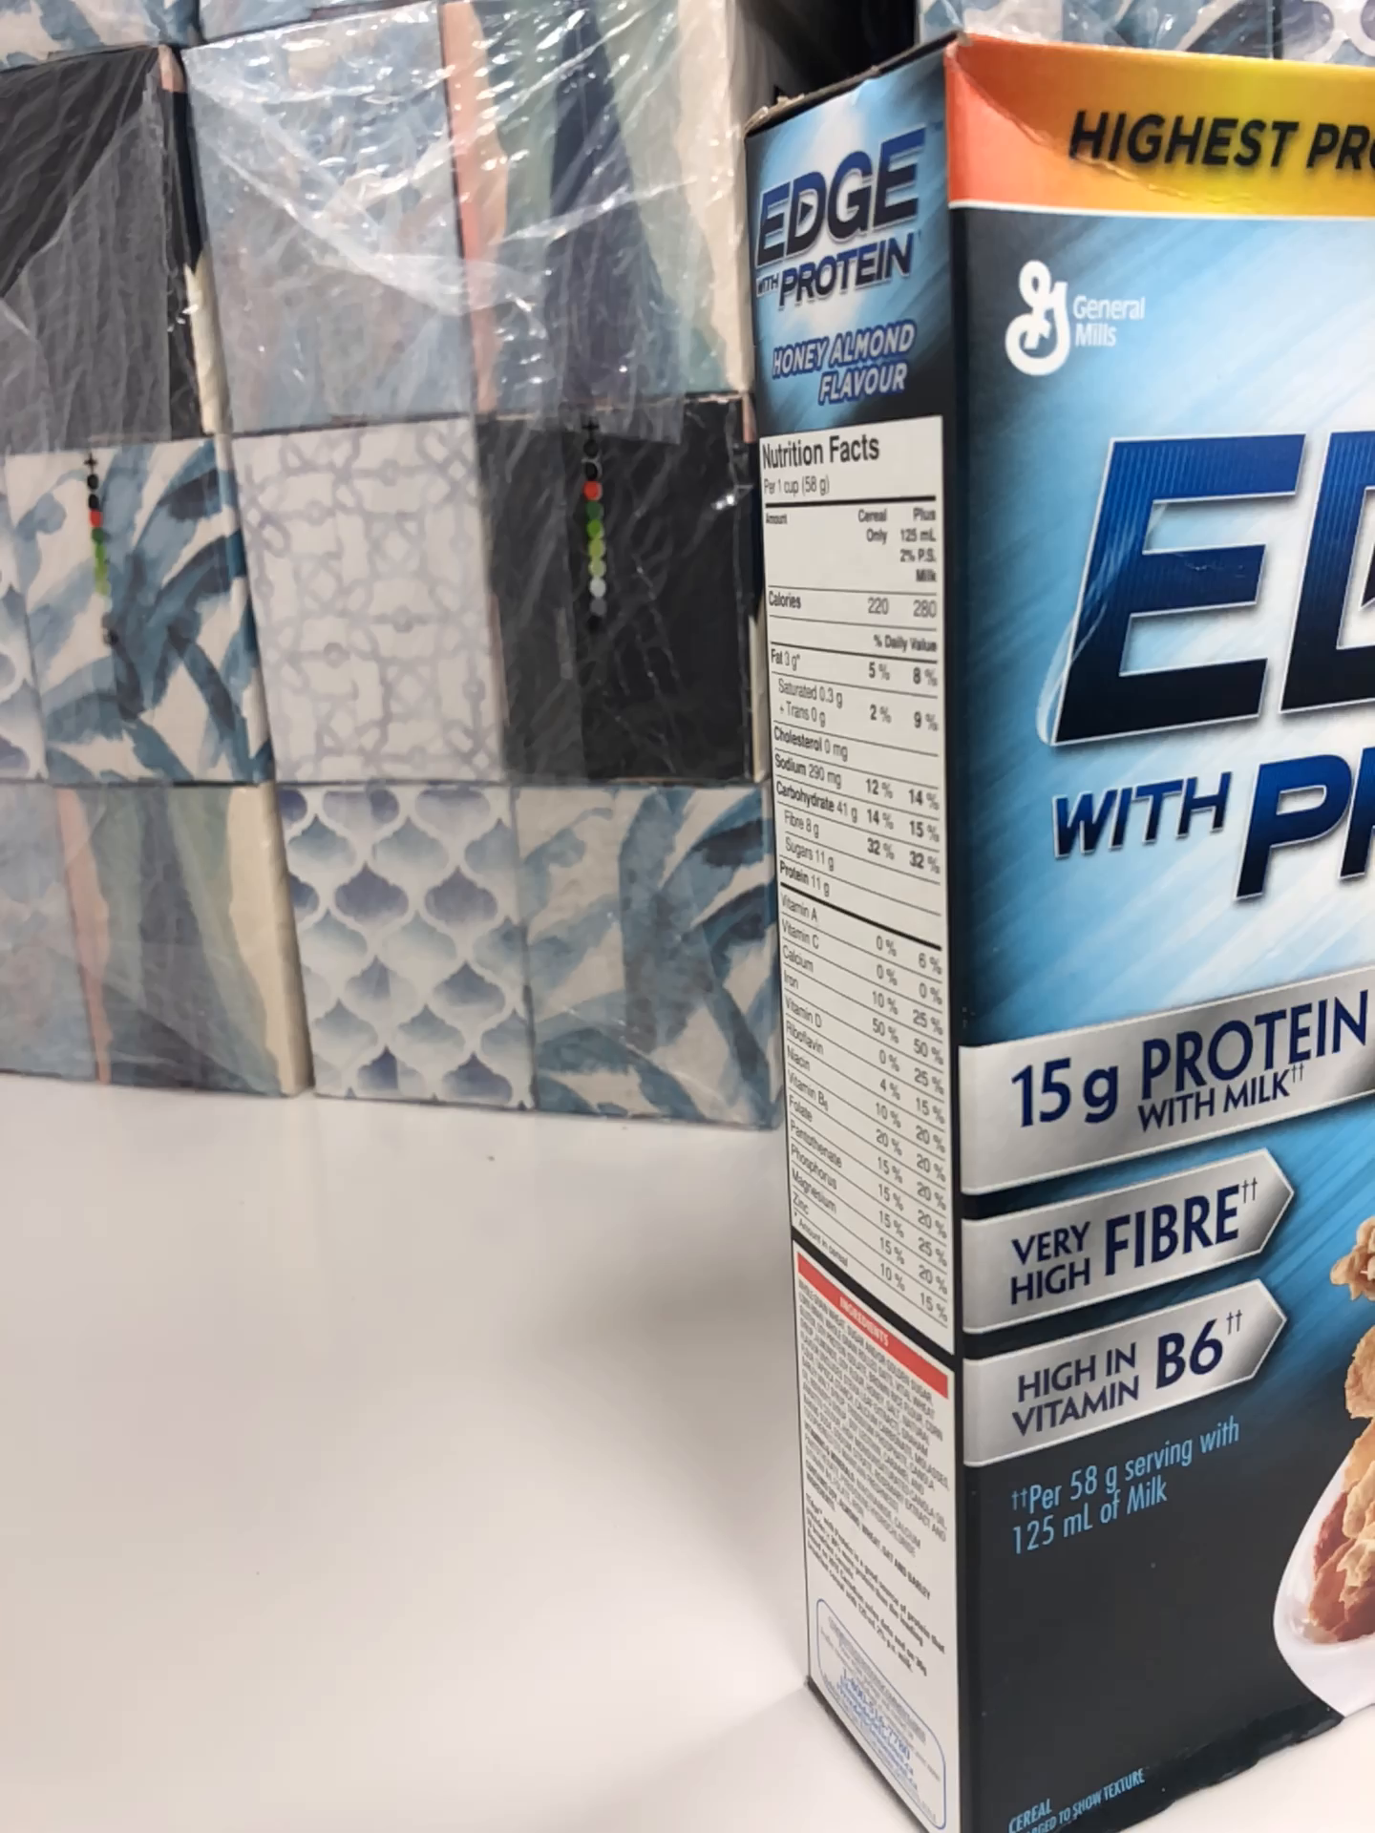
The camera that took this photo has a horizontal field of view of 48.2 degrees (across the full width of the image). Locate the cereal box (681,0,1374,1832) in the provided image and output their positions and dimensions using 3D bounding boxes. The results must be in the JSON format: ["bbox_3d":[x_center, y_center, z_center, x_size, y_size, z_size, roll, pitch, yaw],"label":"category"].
[{"bbox_3d":[0.108,0.010,0.263,0.200,0.279,0.050,-10,17,-24],"label":"cereal box"}]
